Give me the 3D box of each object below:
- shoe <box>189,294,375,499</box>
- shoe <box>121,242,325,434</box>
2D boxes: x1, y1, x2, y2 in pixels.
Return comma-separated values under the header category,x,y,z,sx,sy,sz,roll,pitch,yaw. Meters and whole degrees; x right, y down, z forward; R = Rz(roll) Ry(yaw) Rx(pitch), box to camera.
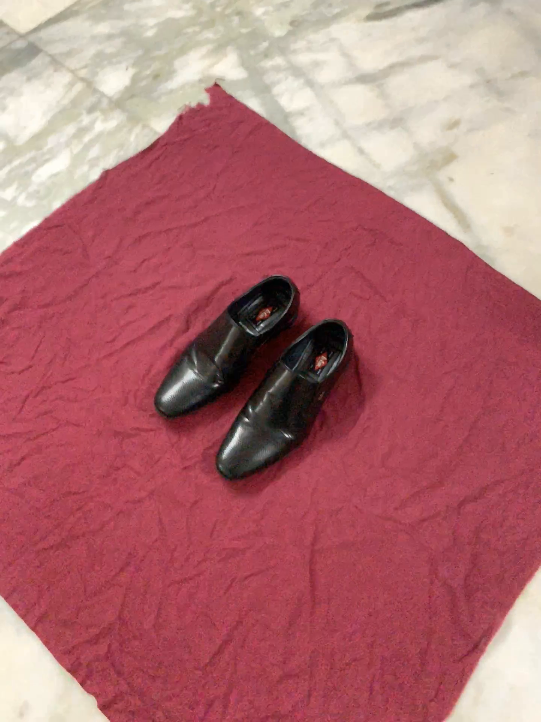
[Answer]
category,x,y,z,sx,sy,sz,roll,pitch,yaw
shoe,0.022,0.049,0.821,0.100,0.100,0.291,37,70,16
shoe,-0.064,-0.038,0.842,0.300,0.100,0.100,-40,71,-17
